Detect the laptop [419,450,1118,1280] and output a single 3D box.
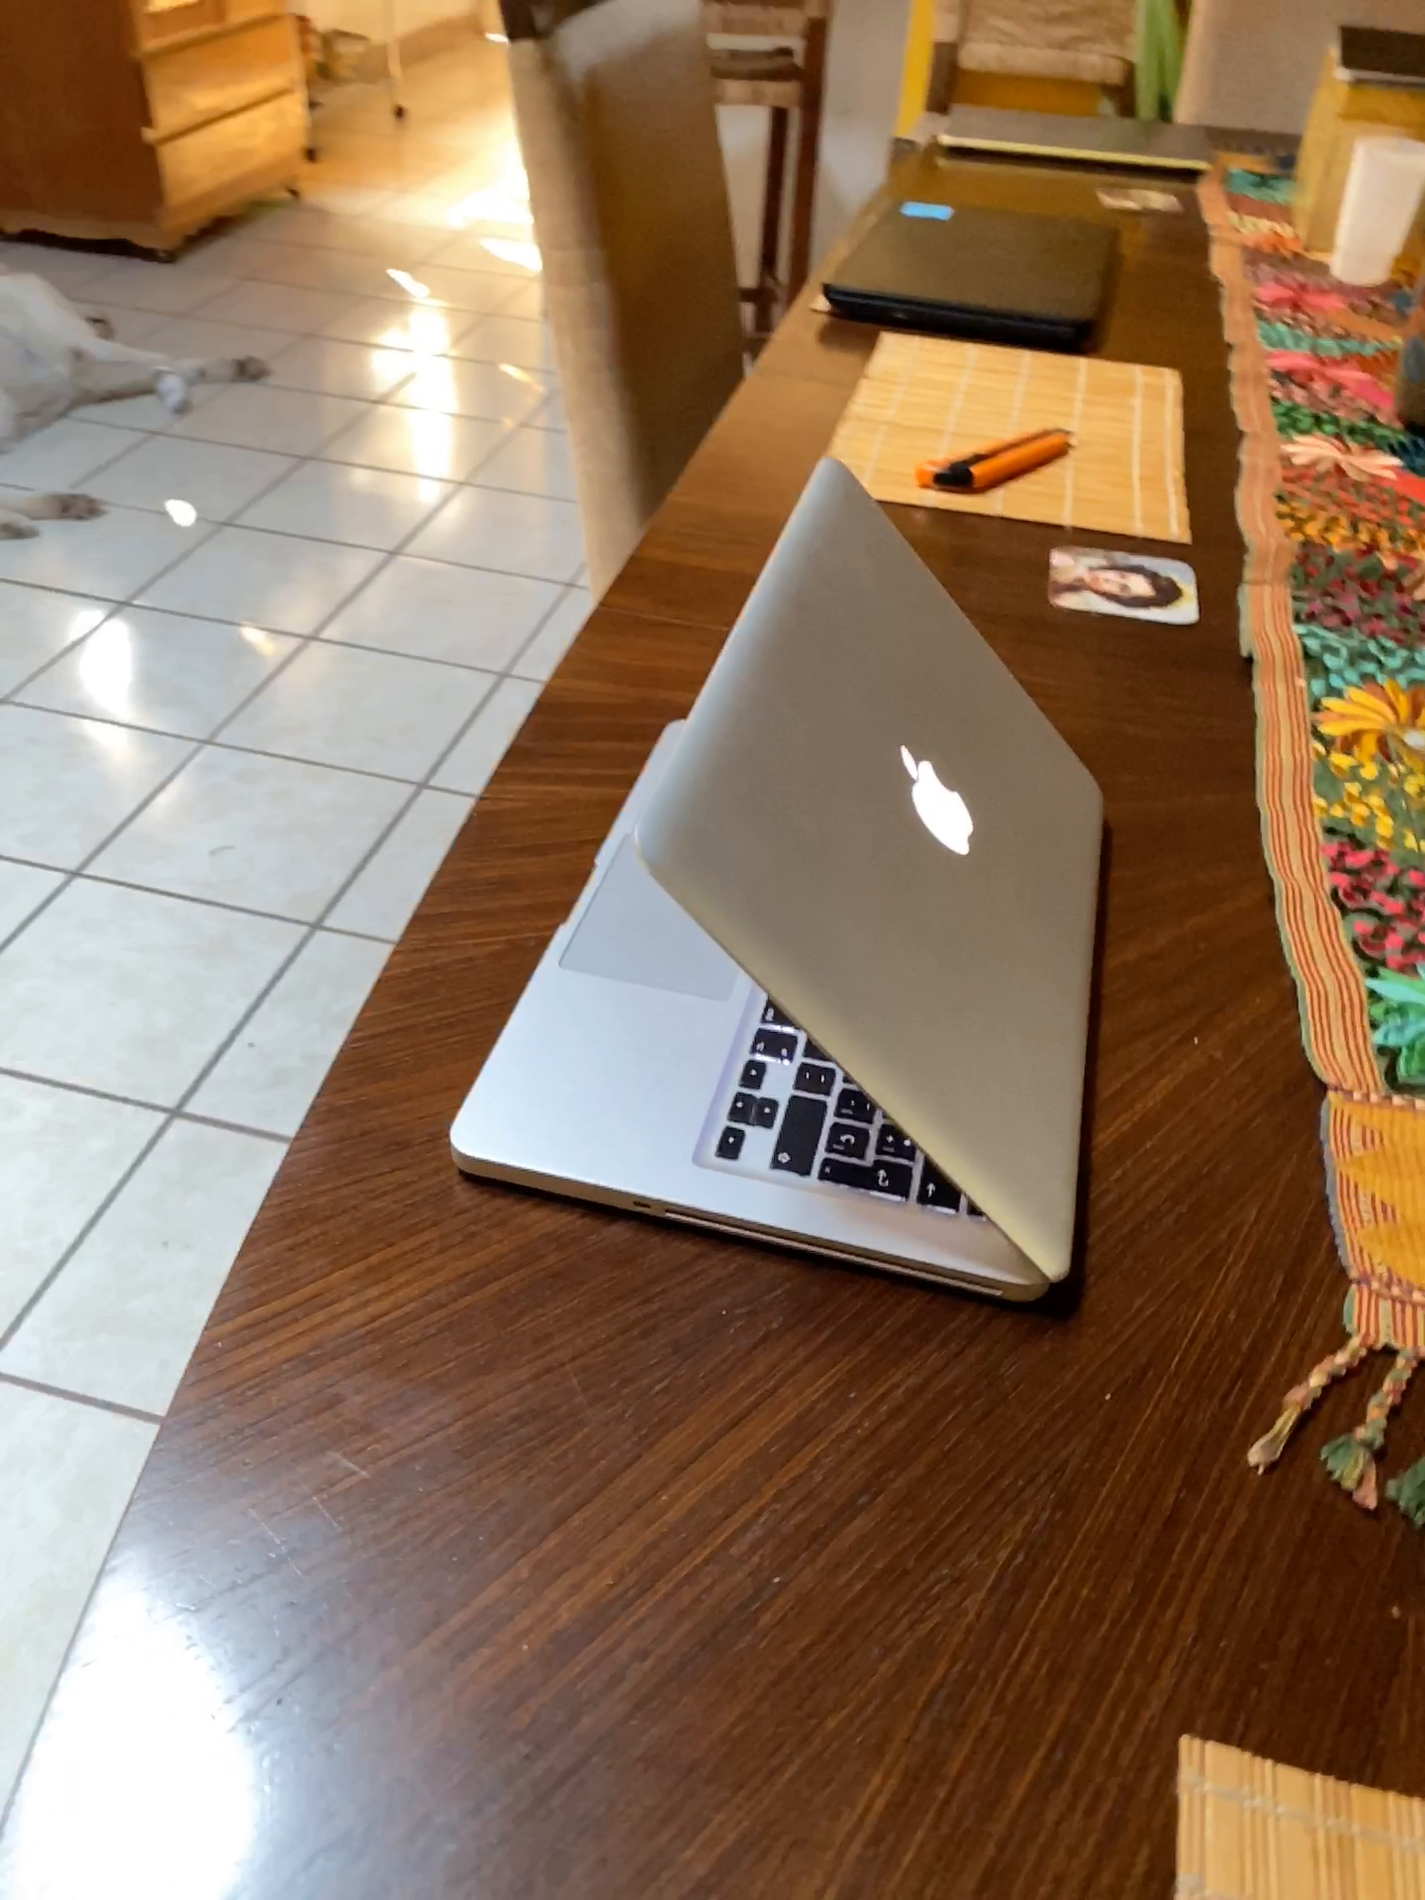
[{"bbox_3d":[0.043,-0.061,0.608,0.212,0.152,0.323,11,40,8],"label":"laptop"}]
